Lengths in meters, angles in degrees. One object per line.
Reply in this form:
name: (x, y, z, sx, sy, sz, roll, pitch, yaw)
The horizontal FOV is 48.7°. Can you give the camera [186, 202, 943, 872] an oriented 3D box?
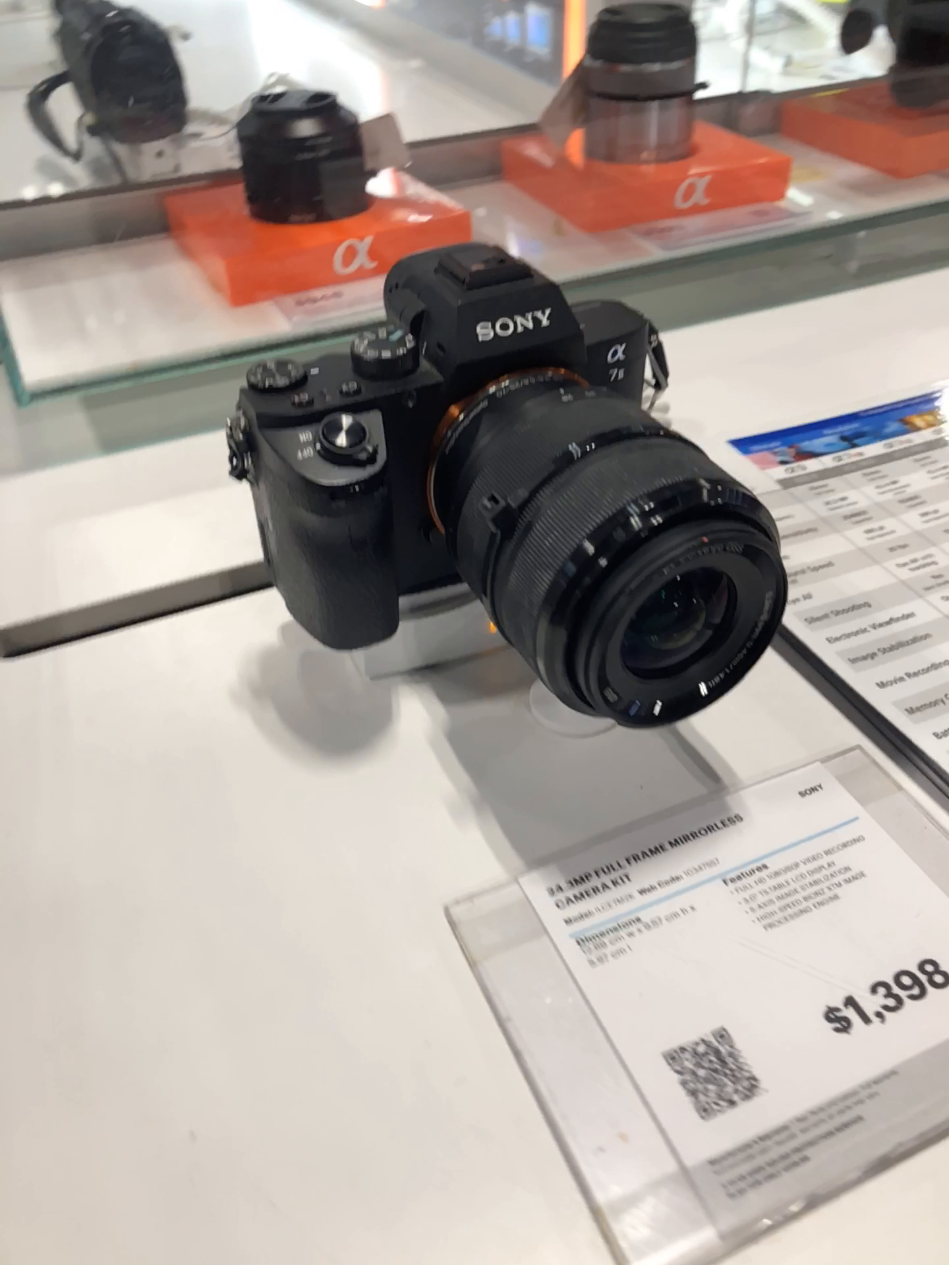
camera: (0.013, -0.039, 0.283, 0.130, 0.089, 0.141, -19, 43, -19)
